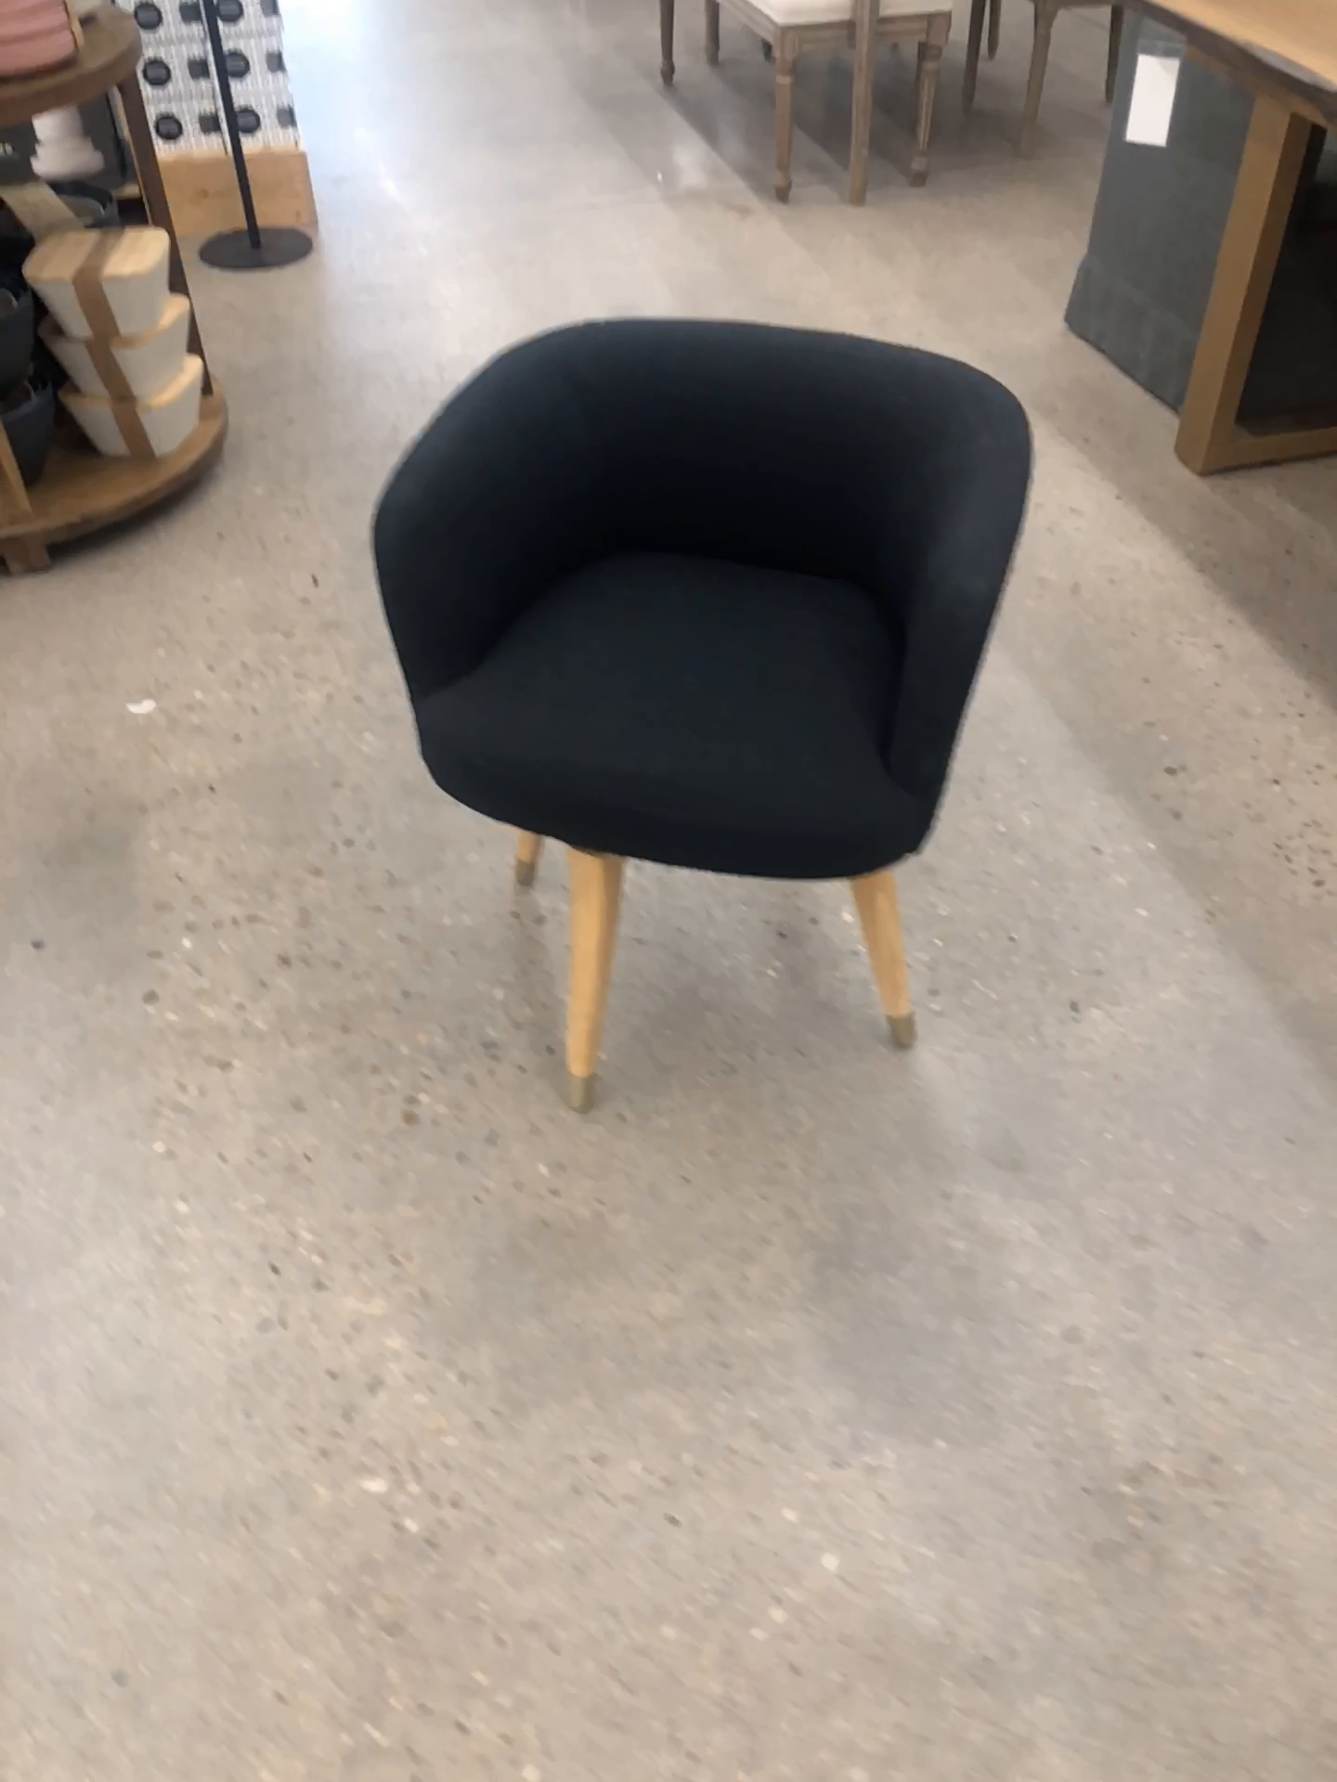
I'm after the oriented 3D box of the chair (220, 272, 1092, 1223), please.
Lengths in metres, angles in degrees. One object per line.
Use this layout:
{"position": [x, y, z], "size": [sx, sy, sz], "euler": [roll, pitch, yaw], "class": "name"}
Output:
{"position": [0.027, -0.176, 1.567], "size": [0.602, 0.670, 0.605], "euler": [16, 46, 18], "class": "chair"}
